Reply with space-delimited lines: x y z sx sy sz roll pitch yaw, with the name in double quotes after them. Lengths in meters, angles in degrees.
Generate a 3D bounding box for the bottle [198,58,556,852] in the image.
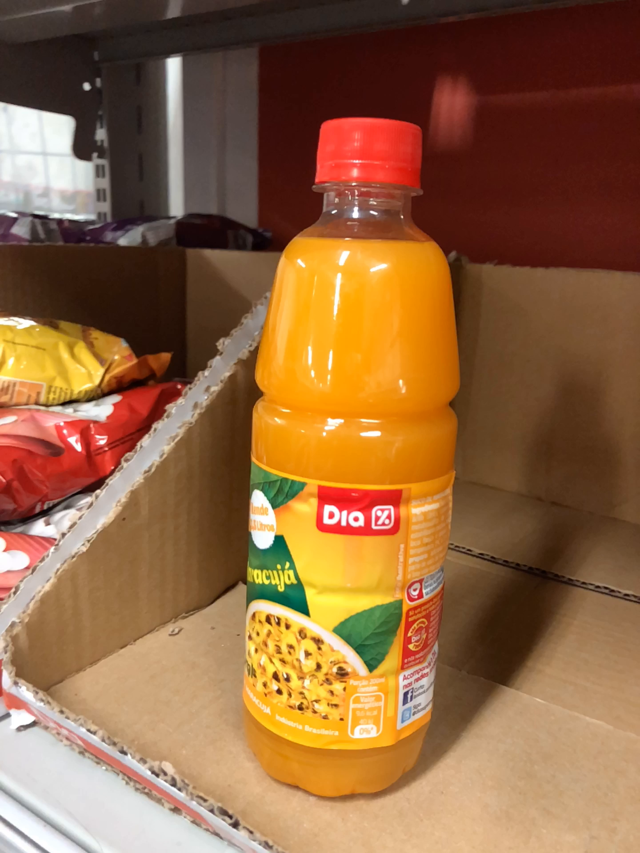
0.012 0.007 0.220 0.070 0.199 0.070 2 14 0 "bottle"
